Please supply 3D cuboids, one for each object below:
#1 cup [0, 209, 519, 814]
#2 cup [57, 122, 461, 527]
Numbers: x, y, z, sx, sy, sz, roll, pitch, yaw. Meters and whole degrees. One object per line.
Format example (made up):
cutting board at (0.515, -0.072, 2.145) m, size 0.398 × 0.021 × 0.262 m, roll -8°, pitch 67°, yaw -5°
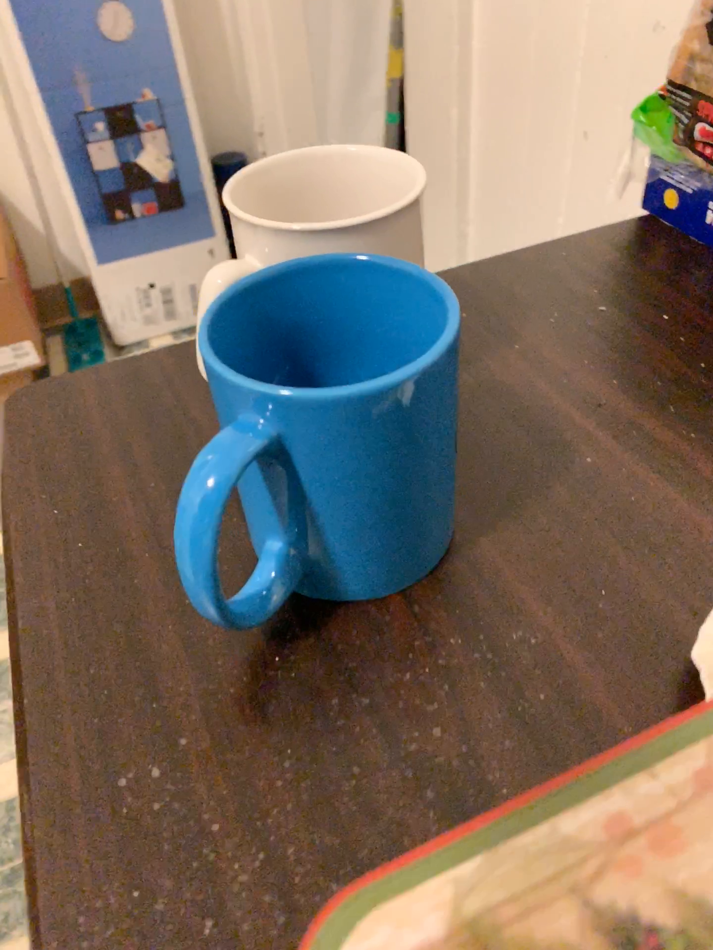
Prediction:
cup at (-0.025, 0.001, 0.231) m, size 0.090 × 0.099 × 0.140 m, roll 23°, pitch 50°, yaw 27°
cup at (-0.029, -0.070, 0.313) m, size 0.090 × 0.099 × 0.130 m, roll 24°, pitch 51°, yaw 28°
